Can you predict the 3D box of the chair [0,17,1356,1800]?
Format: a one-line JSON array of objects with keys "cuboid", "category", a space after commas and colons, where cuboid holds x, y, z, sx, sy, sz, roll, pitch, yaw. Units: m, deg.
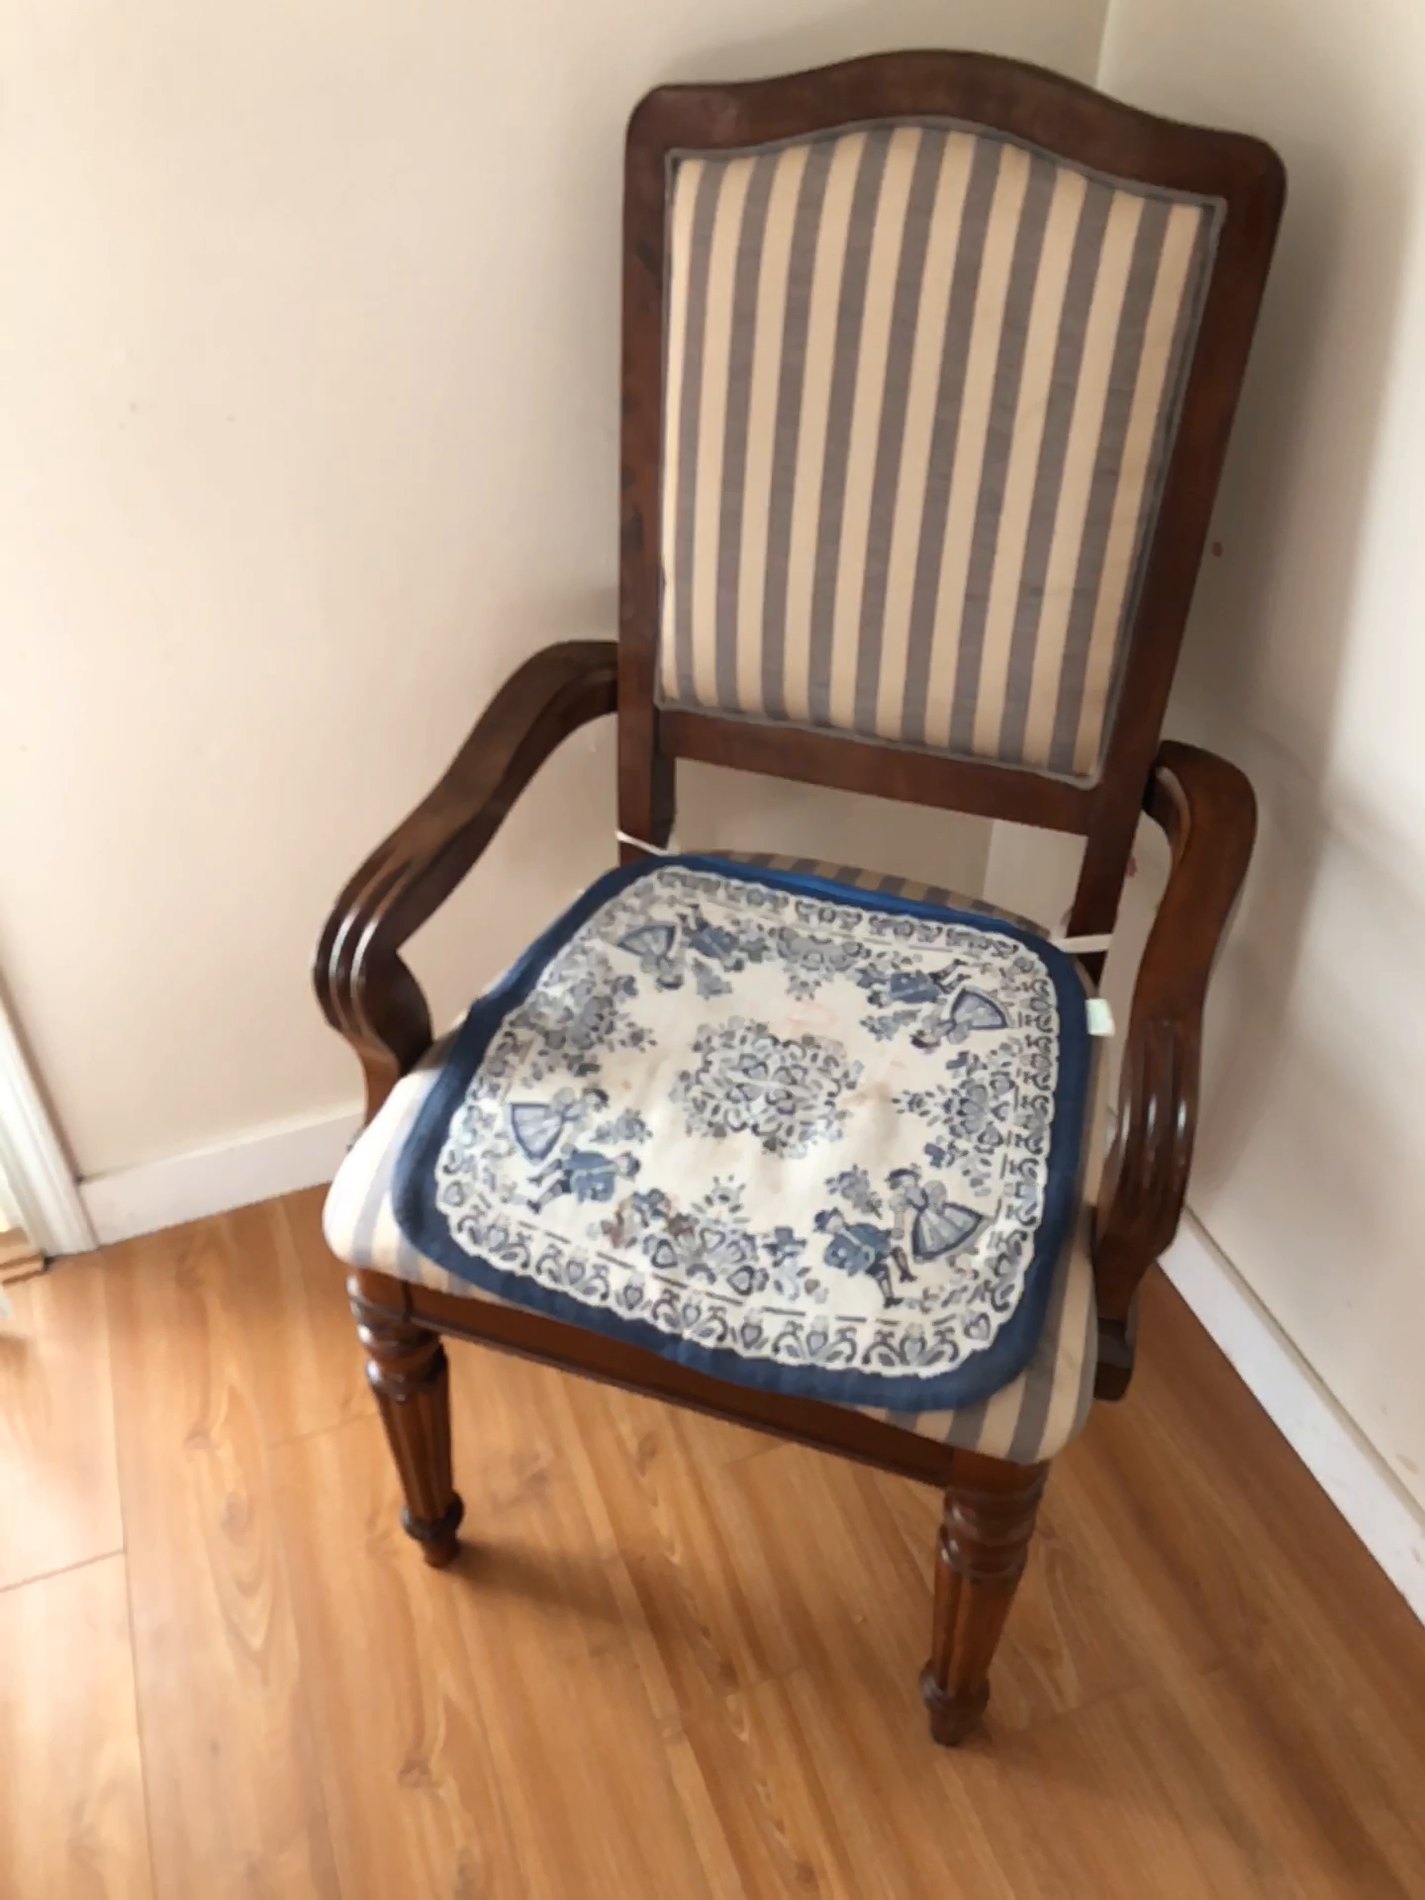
[{"cuboid": [0.037, 0.006, 1.090, 0.530, 1.043, 0.584, 11, 42, 13], "category": "chair"}]
